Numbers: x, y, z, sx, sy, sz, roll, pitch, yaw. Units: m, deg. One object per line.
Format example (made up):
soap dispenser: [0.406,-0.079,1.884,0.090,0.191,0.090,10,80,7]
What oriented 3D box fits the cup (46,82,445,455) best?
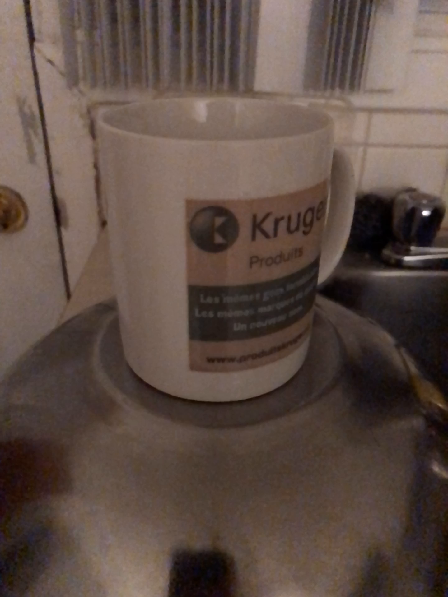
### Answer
cup: [0.004,-0.025,0.215,0.120,0.109,0.091,-15,34,-27]
